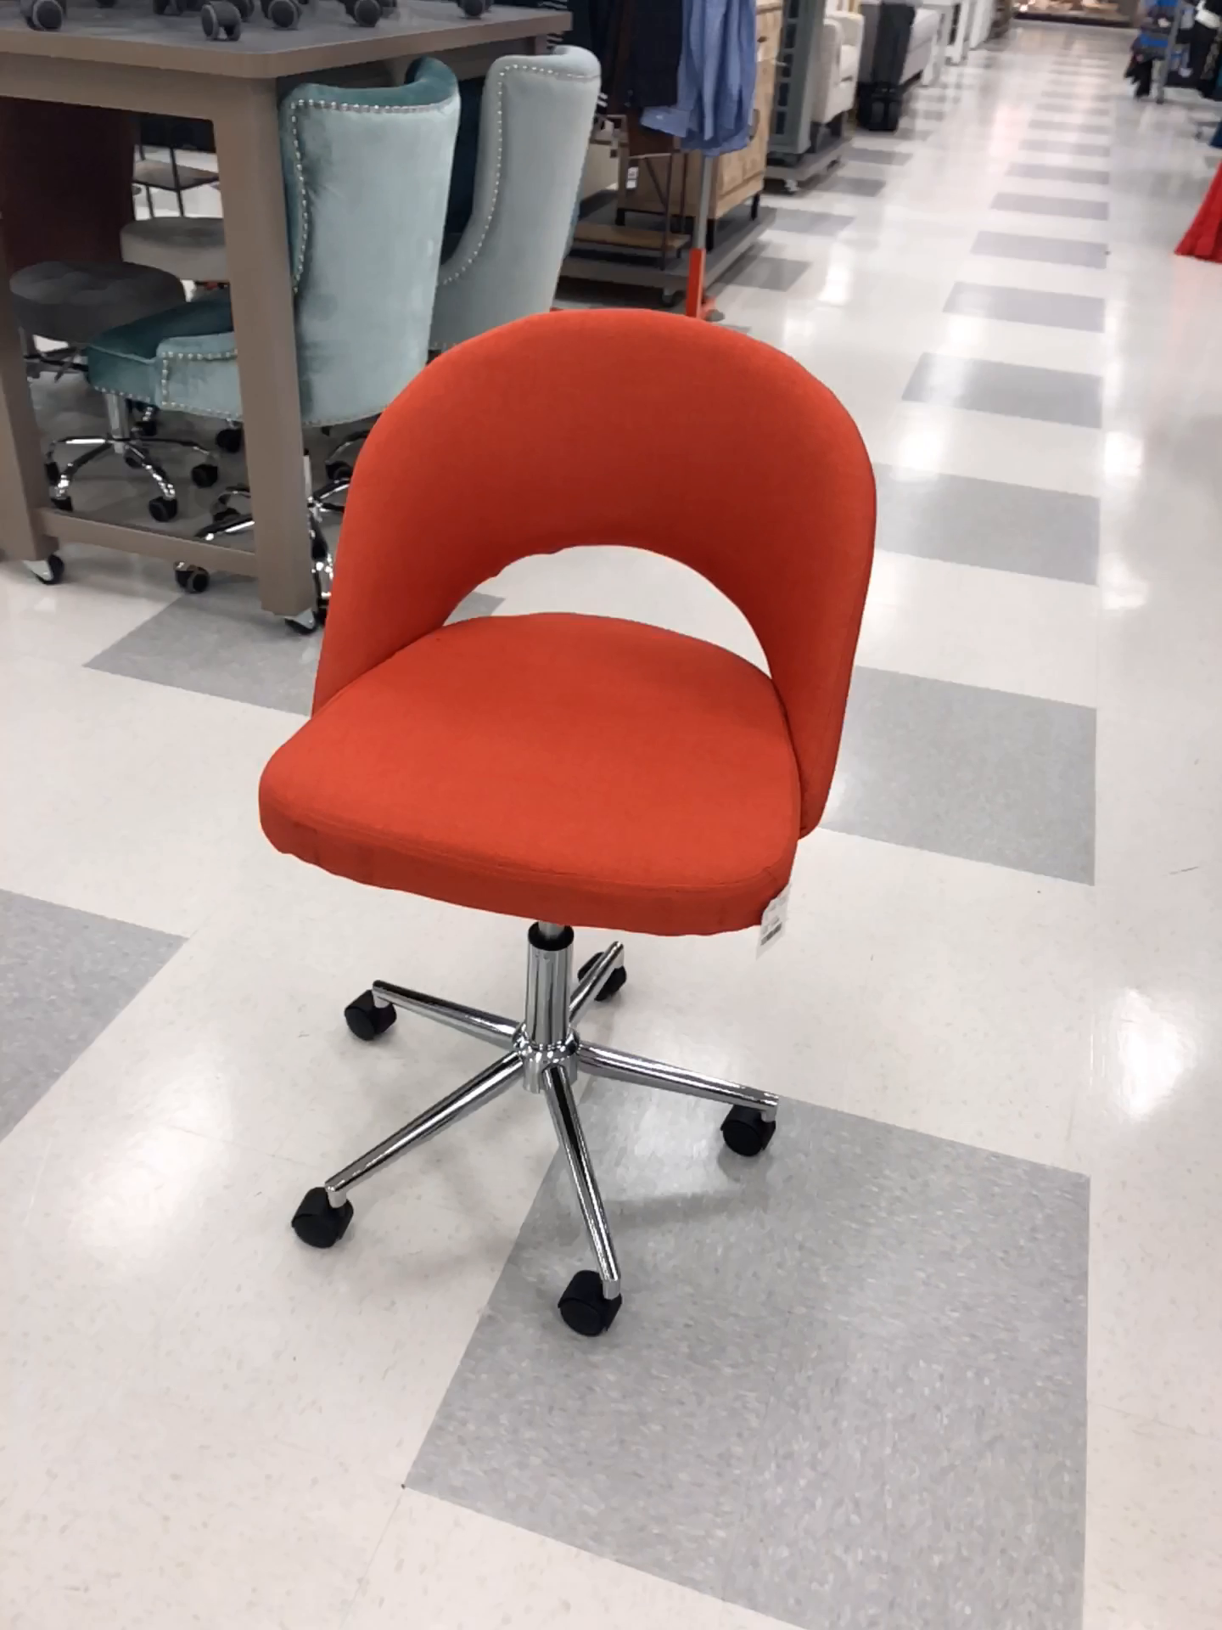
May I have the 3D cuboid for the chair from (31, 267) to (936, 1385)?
[{"bbox_3d":[-0.067,-0.020,1.378,0.599,0.858,0.611,11,34,11],"label":"chair"}]
